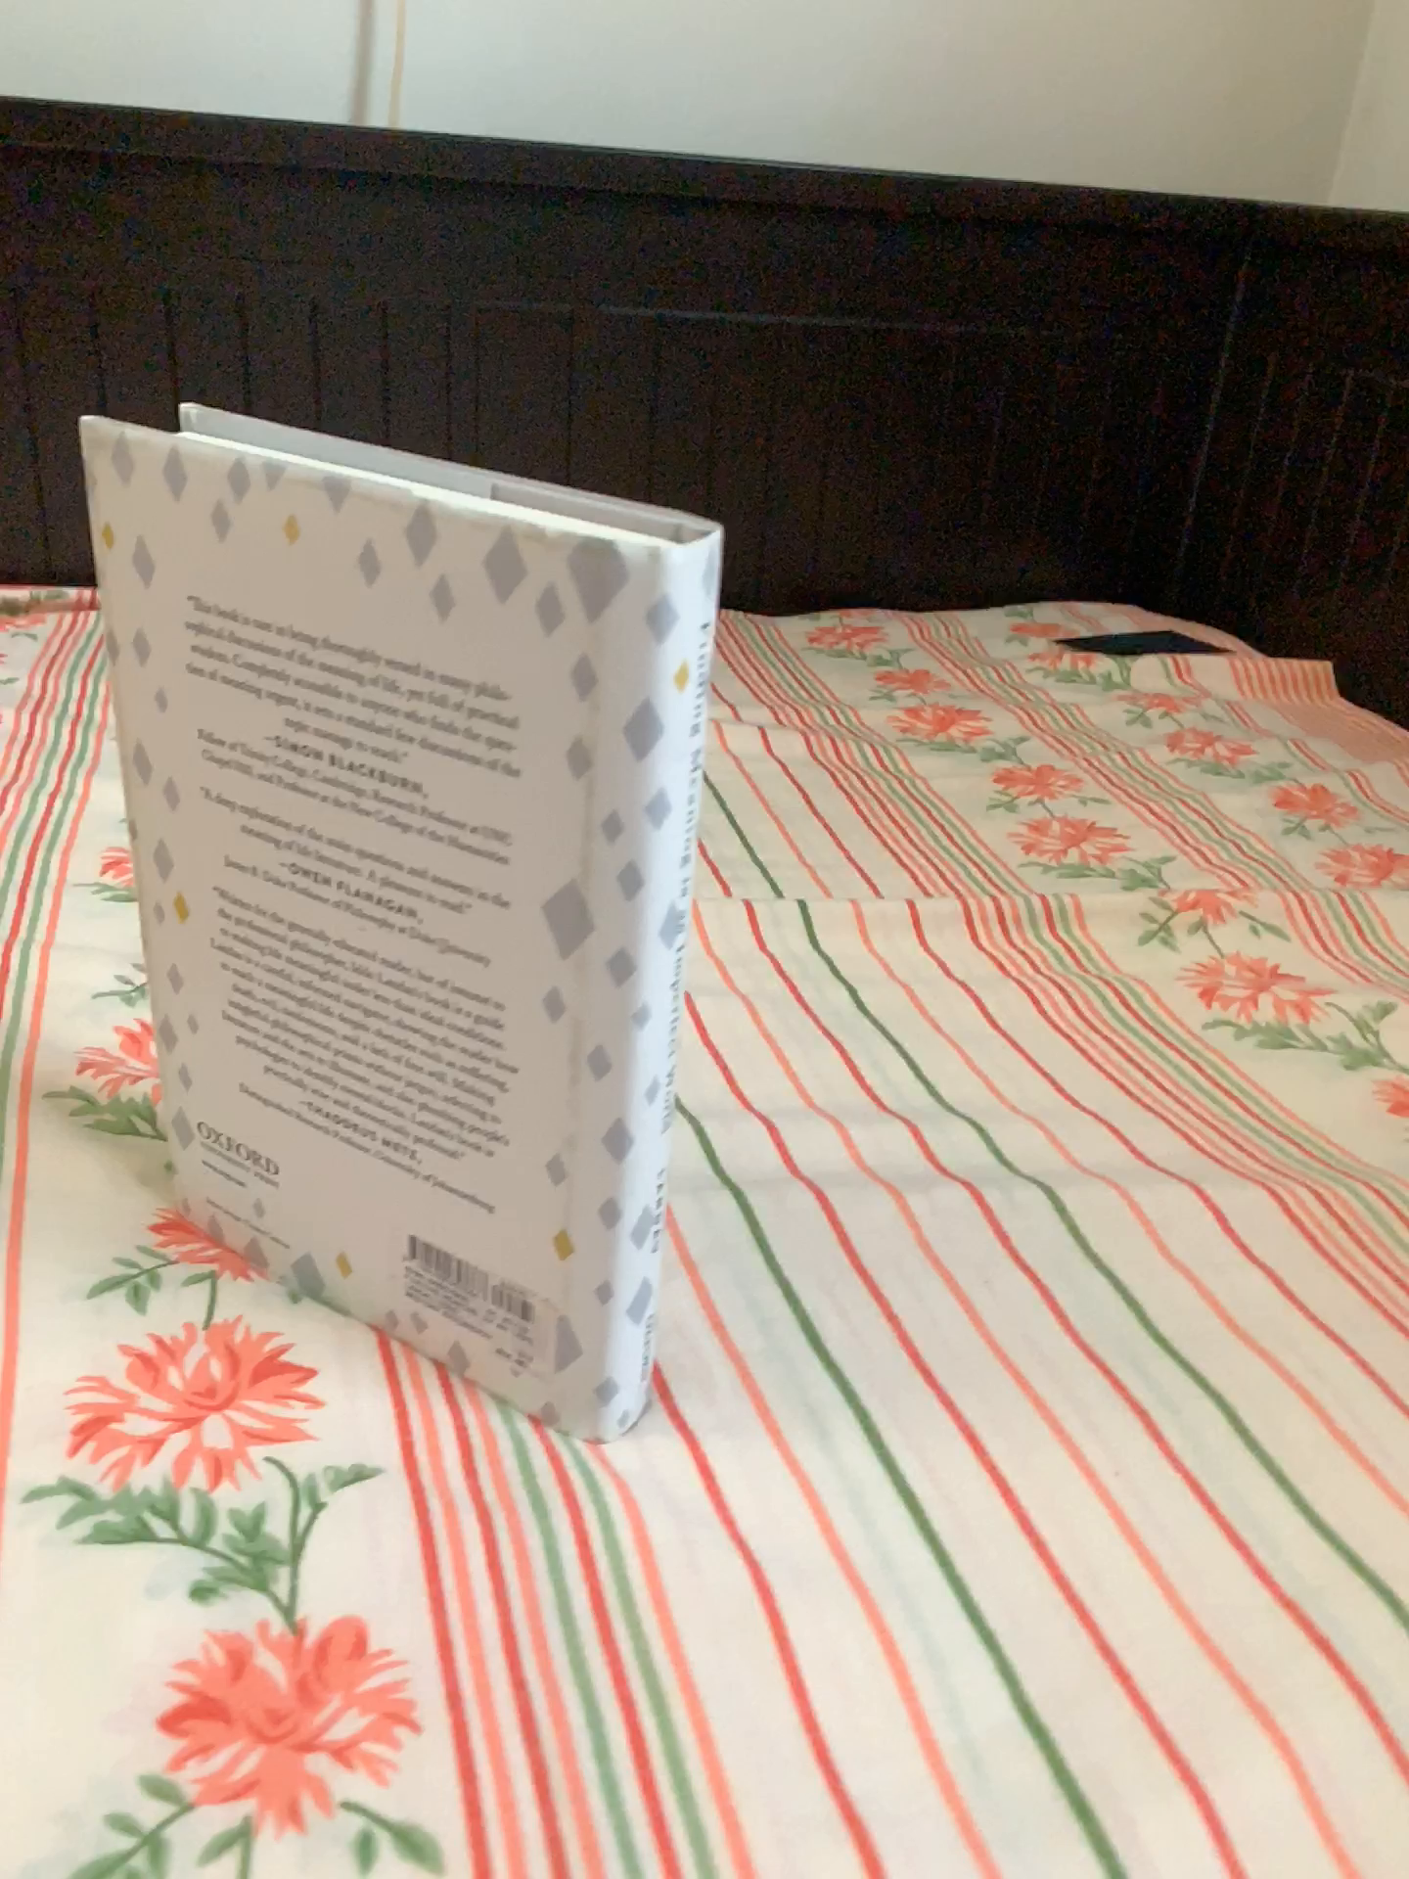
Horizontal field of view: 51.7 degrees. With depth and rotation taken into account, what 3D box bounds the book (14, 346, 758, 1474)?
[{"bbox_3d":[-0.074,-0.005,0.326,0.160,0.218,0.030,20,32,26],"label":"book"}]
